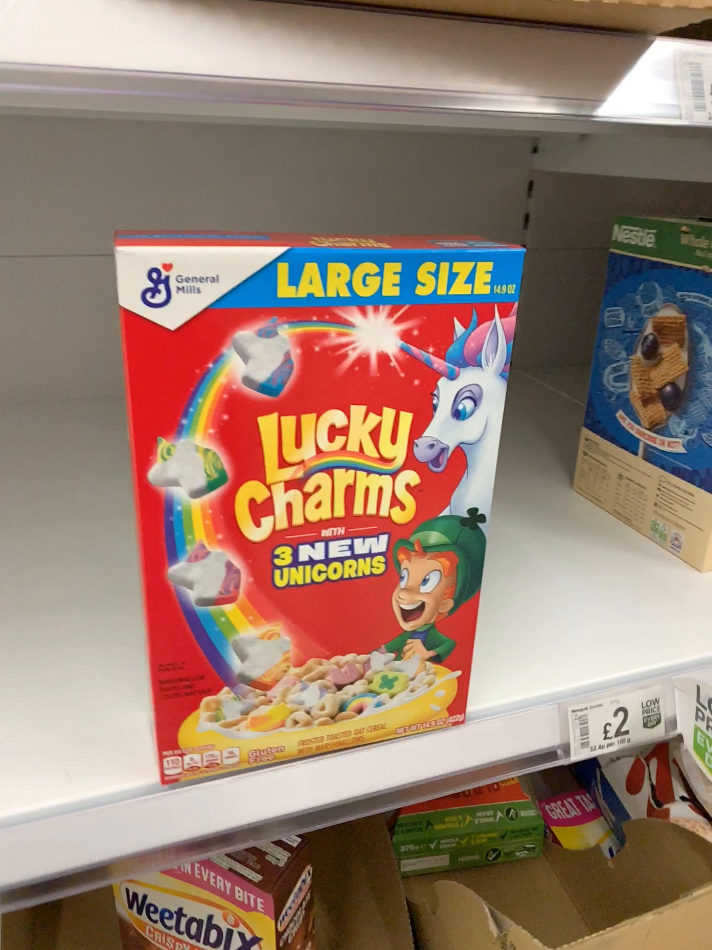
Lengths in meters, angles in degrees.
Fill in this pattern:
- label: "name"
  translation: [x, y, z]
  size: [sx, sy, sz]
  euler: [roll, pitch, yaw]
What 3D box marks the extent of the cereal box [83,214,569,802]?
- label: "cereal box"
  translation: [-0.018, 0.017, 0.392]
  size: [0.210, 0.288, 0.070]
  euler: [-5, 24, -17]
